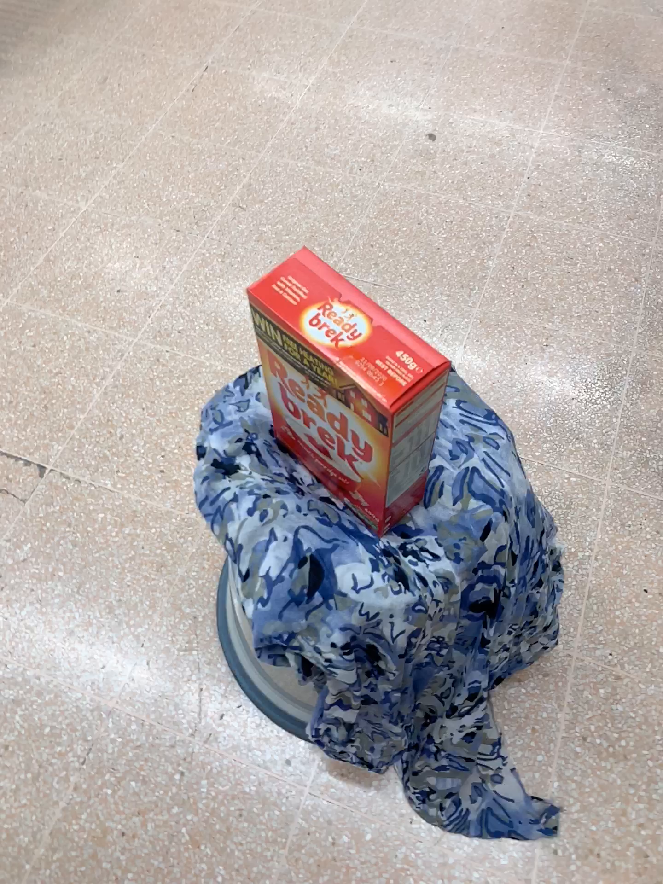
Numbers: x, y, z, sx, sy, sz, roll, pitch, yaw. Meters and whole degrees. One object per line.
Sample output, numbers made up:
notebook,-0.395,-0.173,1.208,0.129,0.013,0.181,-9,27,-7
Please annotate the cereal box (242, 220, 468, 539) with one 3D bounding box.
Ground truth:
cereal box,0.016,-0.040,0.580,0.060,0.239,0.171,-38,65,-19
